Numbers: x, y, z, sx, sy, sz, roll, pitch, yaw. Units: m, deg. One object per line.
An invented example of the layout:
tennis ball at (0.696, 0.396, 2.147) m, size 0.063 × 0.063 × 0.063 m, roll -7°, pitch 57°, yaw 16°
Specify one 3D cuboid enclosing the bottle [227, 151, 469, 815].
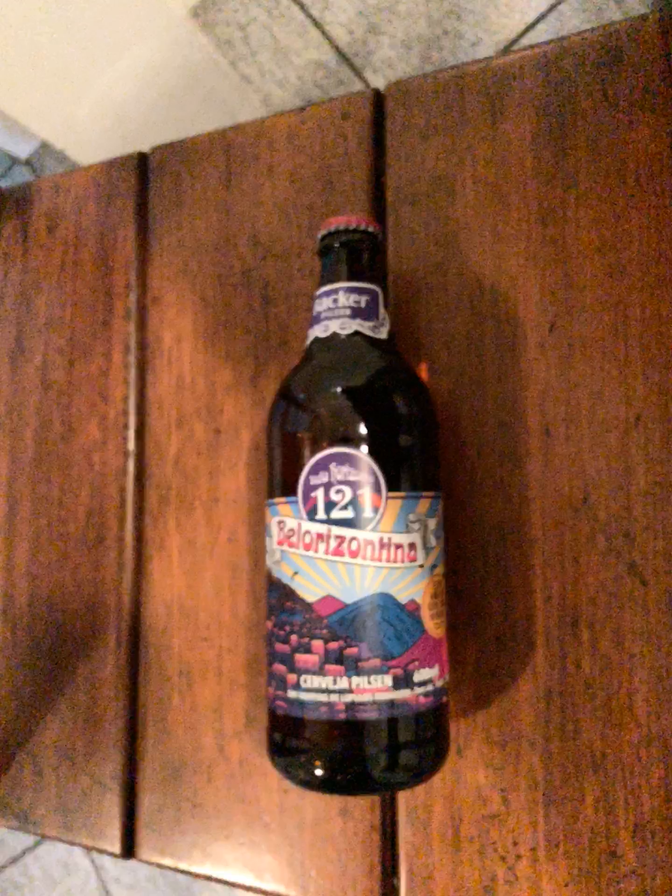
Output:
bottle at (0.005, 0.012, 0.288) m, size 0.080 × 0.050 × 0.240 m, roll -4°, pitch 84°, yaw 13°
